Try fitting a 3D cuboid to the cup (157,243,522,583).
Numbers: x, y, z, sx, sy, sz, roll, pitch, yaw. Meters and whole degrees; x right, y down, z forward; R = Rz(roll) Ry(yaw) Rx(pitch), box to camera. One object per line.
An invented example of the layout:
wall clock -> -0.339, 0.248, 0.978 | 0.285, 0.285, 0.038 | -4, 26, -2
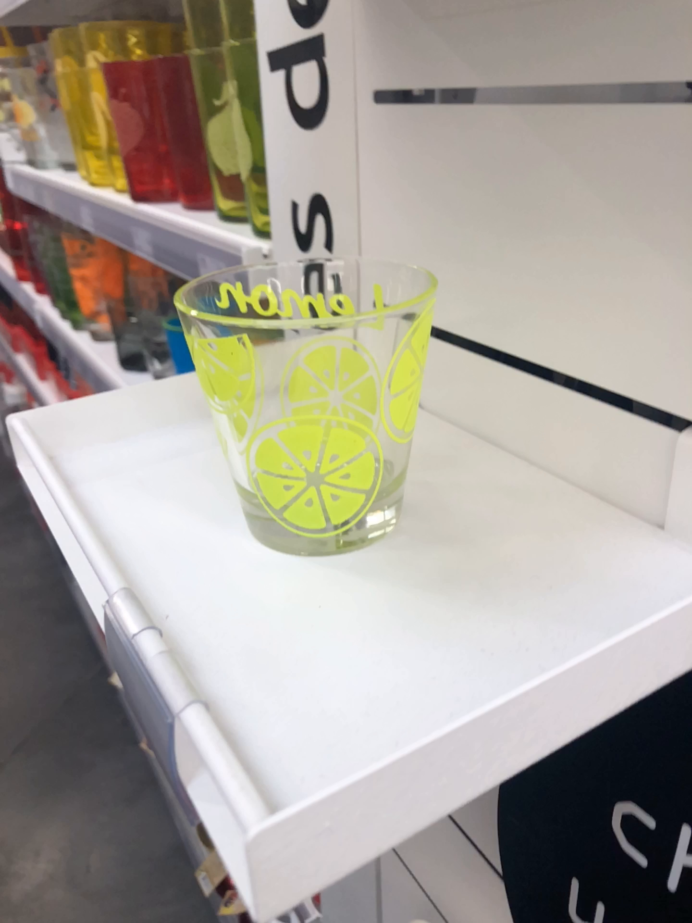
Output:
cup -> 0.001, -0.024, 0.255 | 0.080, 0.075, 0.084 | -2, 26, 1
